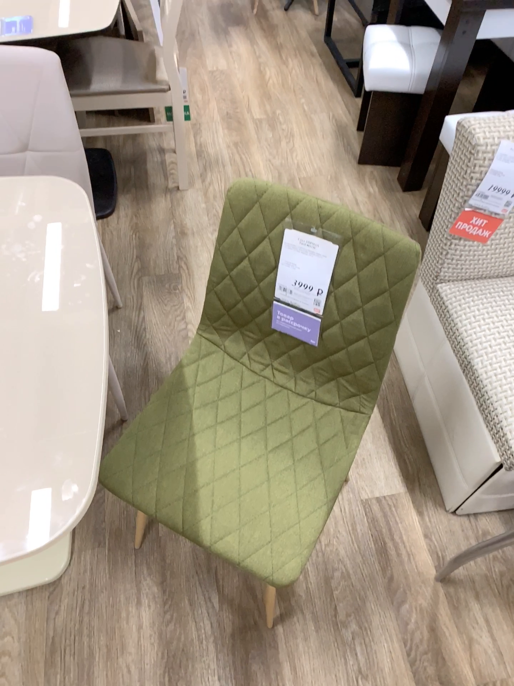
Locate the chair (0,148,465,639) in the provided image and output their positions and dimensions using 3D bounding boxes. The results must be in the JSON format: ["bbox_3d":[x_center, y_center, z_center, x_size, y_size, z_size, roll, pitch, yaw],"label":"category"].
[{"bbox_3d":[-0.015,0.168,1.136,0.500,0.837,0.562,24,57,15],"label":"chair"}]
